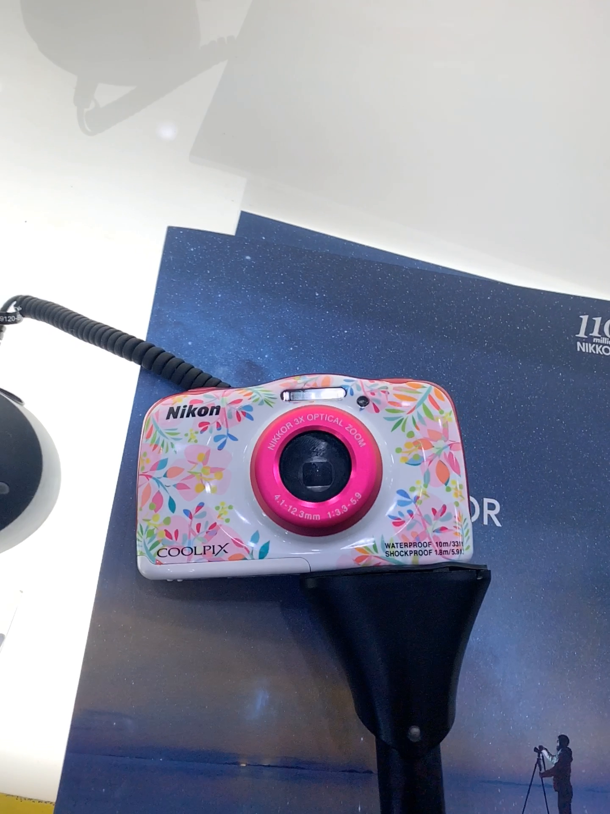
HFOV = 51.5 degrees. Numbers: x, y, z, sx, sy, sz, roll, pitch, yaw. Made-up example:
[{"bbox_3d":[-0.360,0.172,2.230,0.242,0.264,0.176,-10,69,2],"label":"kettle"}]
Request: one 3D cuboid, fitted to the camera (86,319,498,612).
[{"bbox_3d":[-0.006,0.017,0.202,0.110,0.040,0.080,-1,65,-9],"label":"camera"}]
